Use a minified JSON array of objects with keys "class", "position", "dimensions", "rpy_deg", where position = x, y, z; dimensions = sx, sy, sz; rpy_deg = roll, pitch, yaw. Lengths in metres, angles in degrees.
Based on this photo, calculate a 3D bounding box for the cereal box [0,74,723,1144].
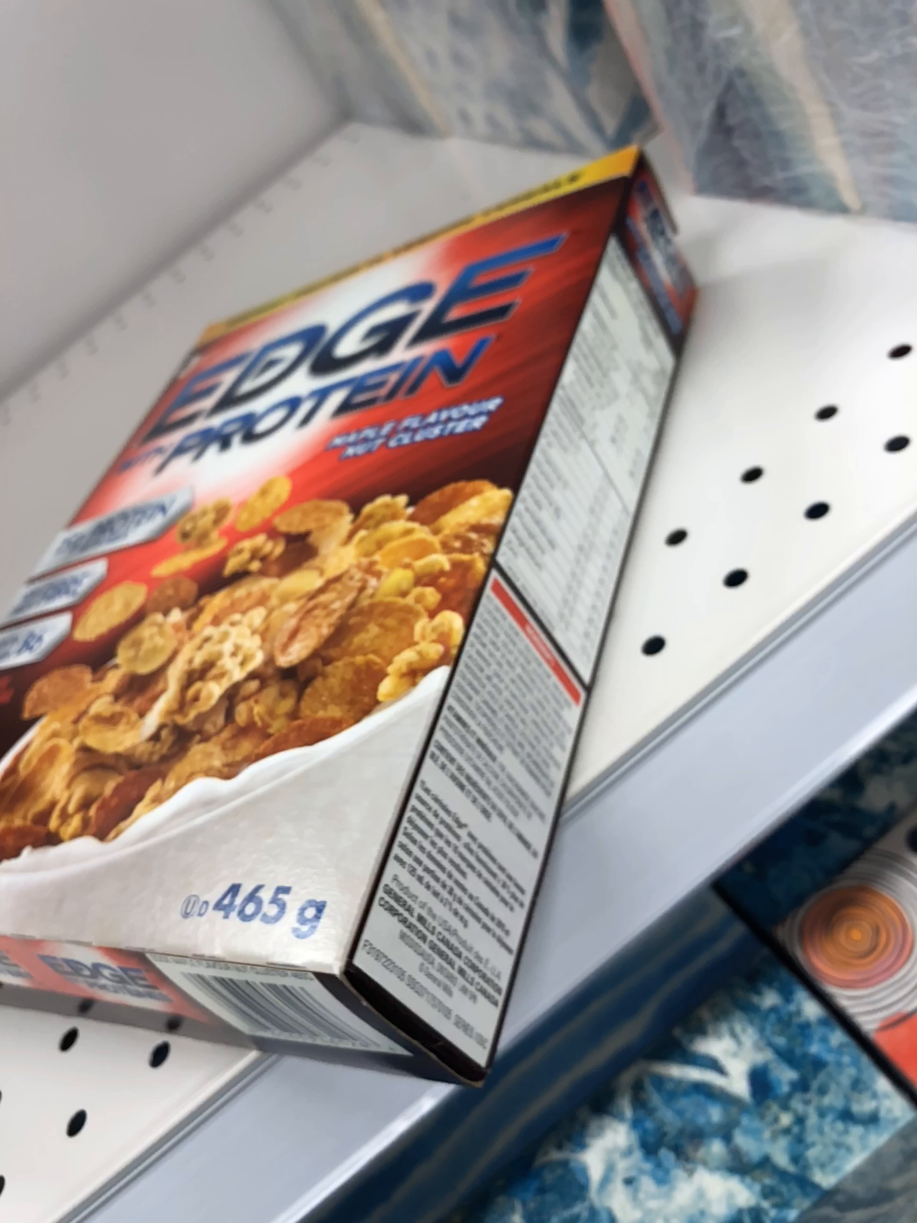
[{"class":"cereal box","position":[-0.060,-0.020,0.296],"dimensions":[0.221,0.050,0.270],"rpy_deg":[-9,45,35]}]
